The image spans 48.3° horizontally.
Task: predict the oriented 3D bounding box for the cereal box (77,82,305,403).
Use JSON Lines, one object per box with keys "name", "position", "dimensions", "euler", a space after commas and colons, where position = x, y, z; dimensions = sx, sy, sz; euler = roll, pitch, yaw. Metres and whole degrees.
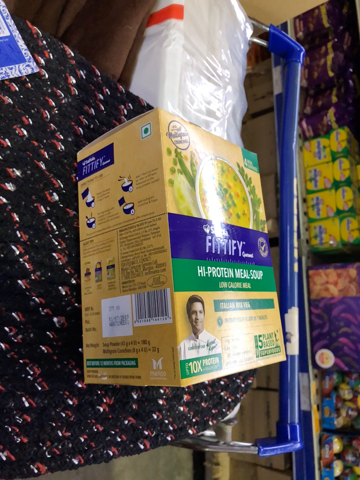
{"name": "cereal box", "position": [0.009, 0.009, 0.282], "dimensions": [0.131, 0.080, 0.170], "euler": [9, 72, -48]}
